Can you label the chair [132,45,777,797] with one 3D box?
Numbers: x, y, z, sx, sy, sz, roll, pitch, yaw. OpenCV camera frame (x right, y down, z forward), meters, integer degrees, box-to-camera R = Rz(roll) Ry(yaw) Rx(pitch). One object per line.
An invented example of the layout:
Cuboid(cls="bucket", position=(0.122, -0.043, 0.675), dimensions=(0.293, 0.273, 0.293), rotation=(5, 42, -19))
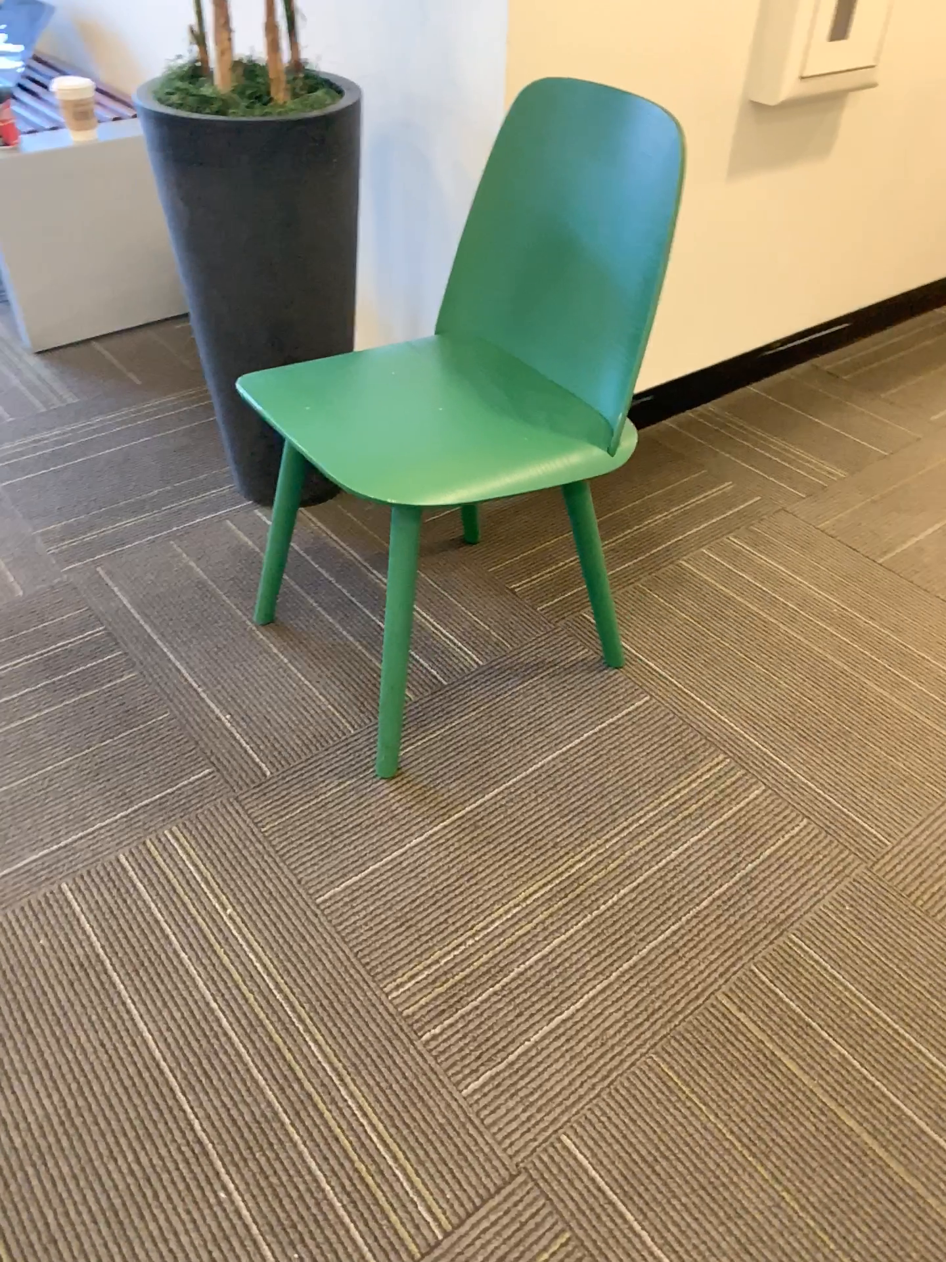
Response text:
Cuboid(cls="chair", position=(-0.041, -0.297, 1.321), dimensions=(0.541, 0.766, 0.482), rotation=(-24, 47, -28))
